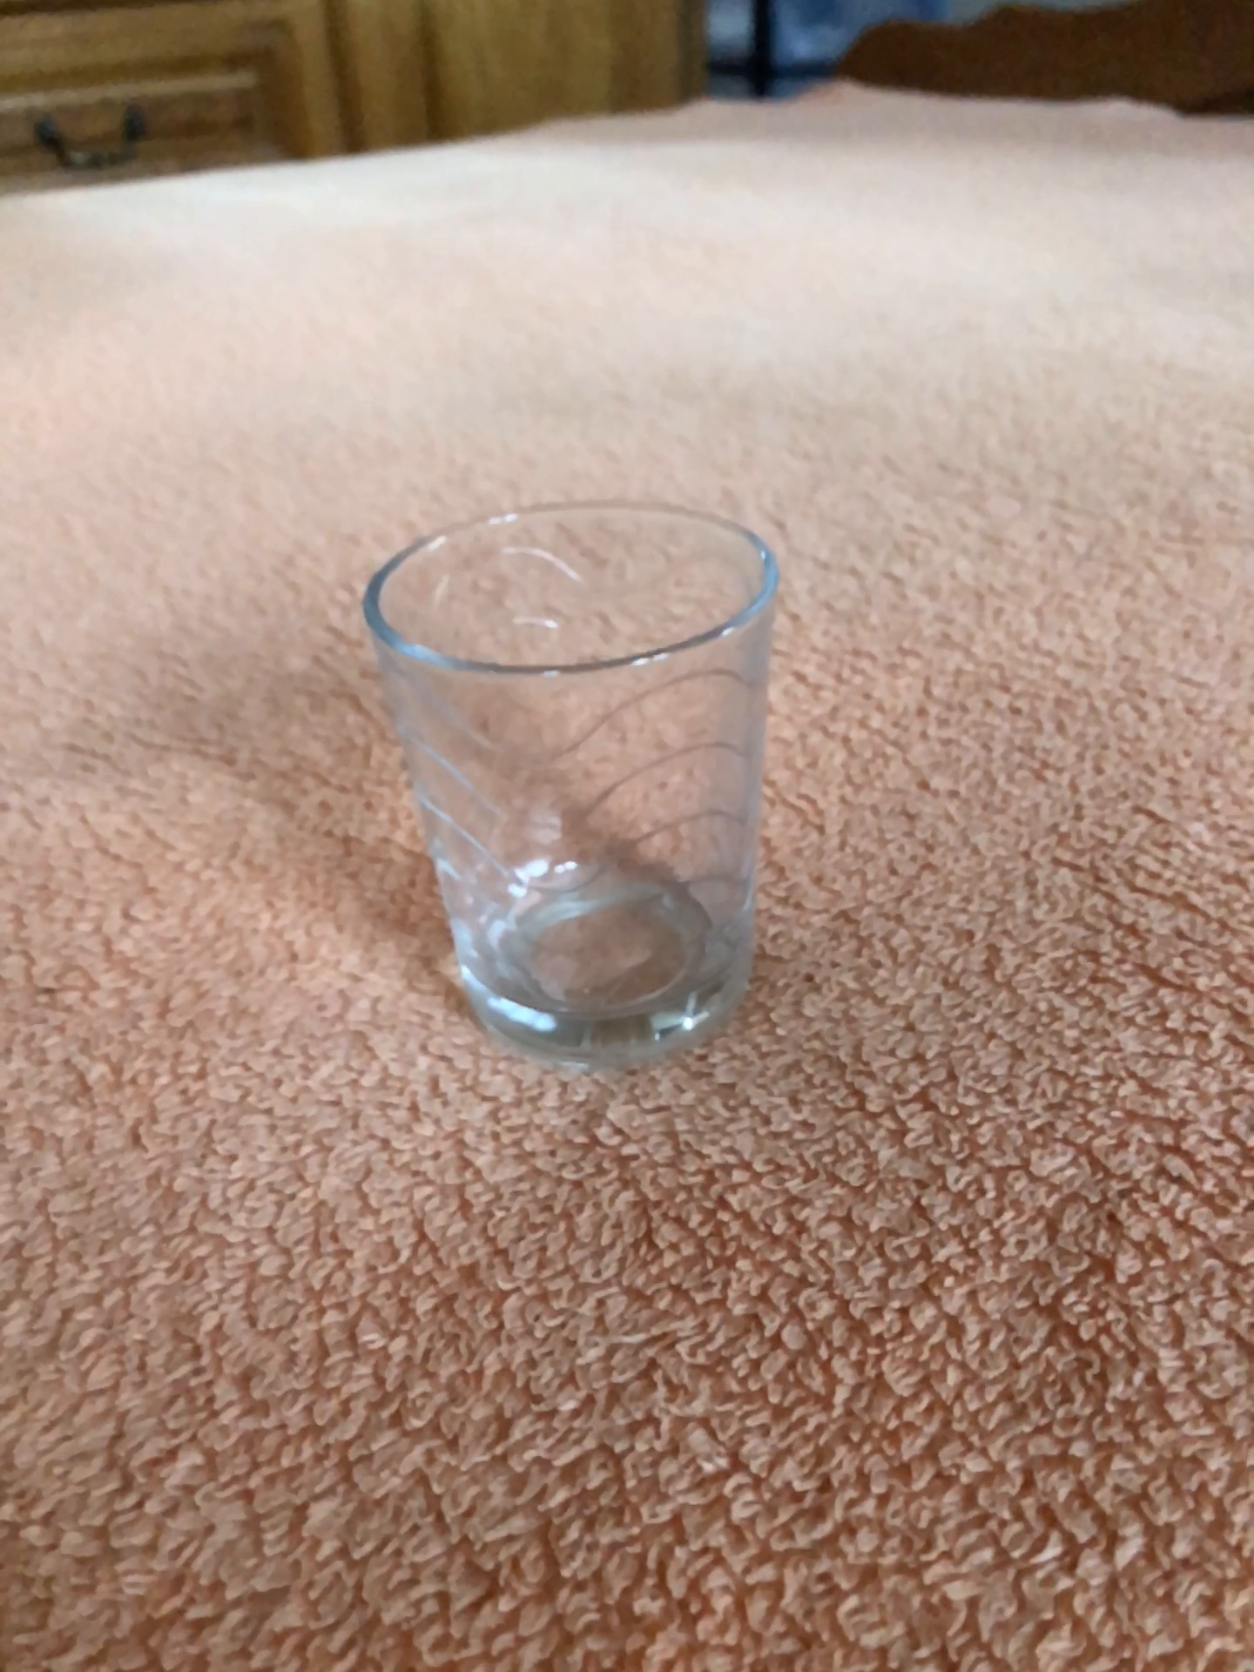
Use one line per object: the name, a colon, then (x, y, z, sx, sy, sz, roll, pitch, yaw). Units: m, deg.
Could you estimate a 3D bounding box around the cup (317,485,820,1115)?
cup: (-0.004, -0.008, 0.236, 0.060, 0.080, 0.060, -3, 33, 2)
